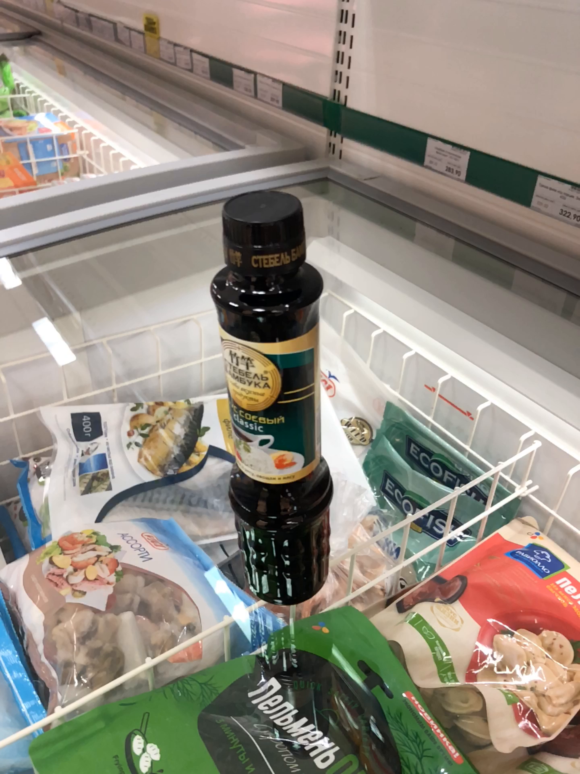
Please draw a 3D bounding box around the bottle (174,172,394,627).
[{"bbox_3d":[-0.003,0.016,0.288,0.058,0.199,0.054,1,37,0],"label":"bottle"}]
